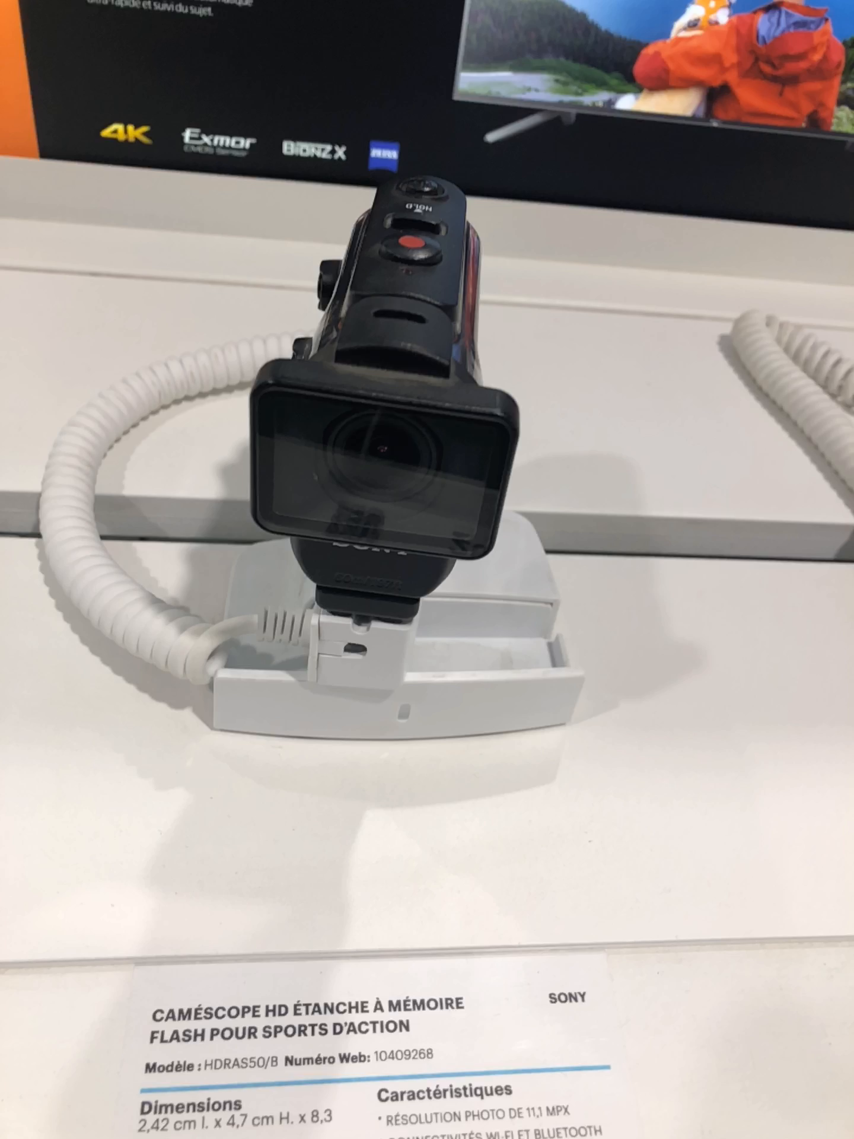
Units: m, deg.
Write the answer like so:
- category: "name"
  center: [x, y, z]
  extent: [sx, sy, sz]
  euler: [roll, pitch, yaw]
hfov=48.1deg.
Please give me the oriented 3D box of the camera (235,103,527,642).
- category: "camera"
  center: [-0.008, -0.041, 0.199]
  extent: [0.045, 0.064, 0.088]
  euler: [7, 52, -3]
